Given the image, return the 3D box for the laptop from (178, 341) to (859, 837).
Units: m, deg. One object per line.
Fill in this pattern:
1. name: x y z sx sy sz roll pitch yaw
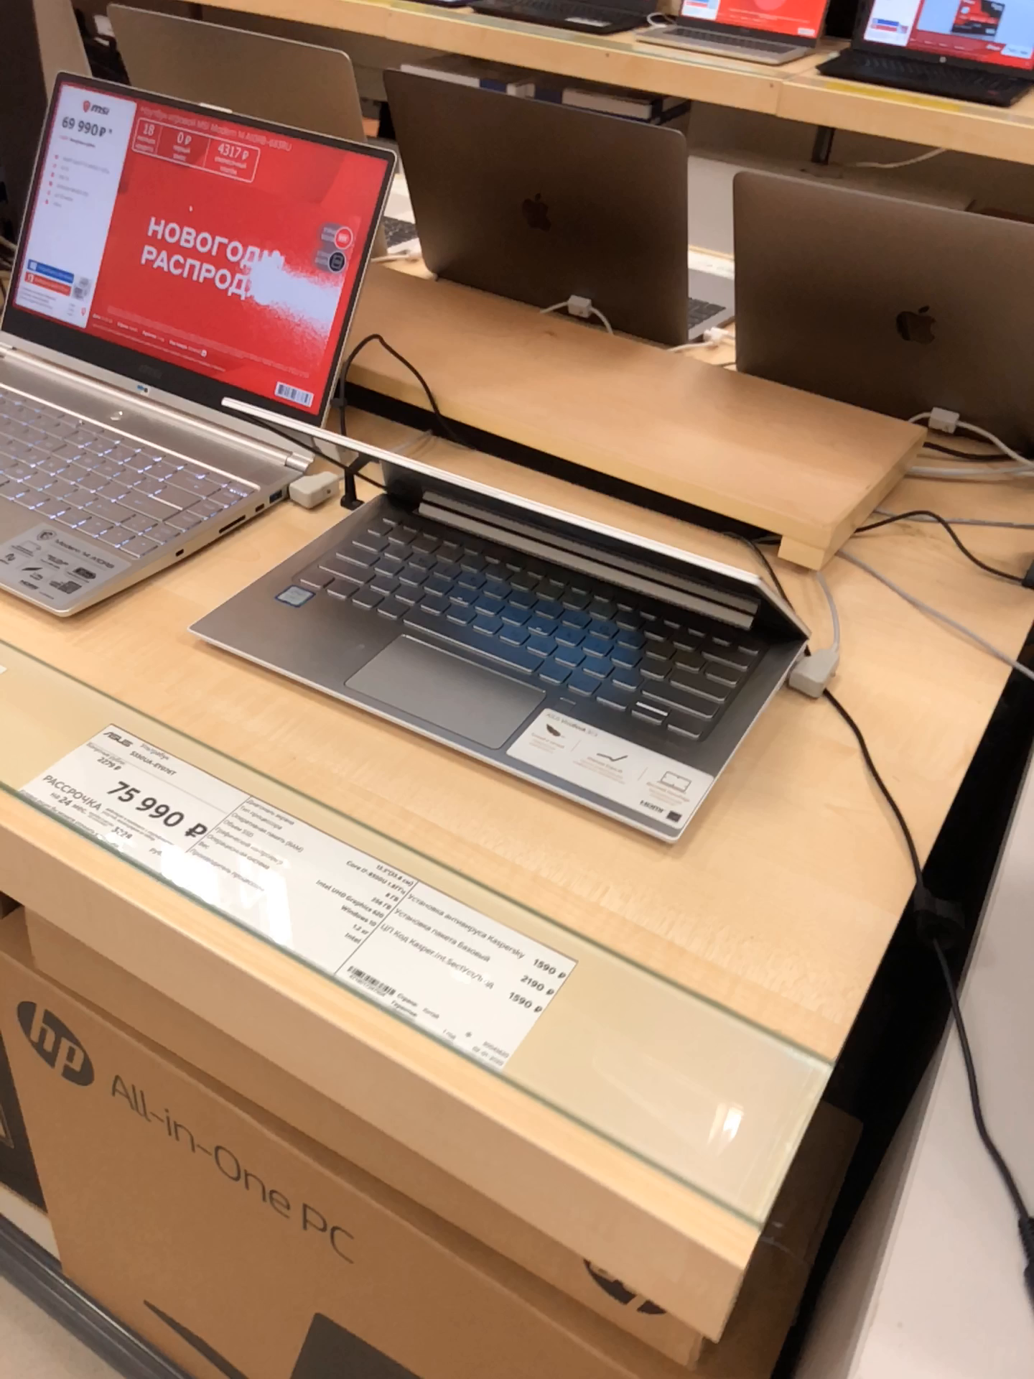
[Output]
1. laptop: -0.001 -0.078 0.642 0.309 0.119 0.197 21 39 23
